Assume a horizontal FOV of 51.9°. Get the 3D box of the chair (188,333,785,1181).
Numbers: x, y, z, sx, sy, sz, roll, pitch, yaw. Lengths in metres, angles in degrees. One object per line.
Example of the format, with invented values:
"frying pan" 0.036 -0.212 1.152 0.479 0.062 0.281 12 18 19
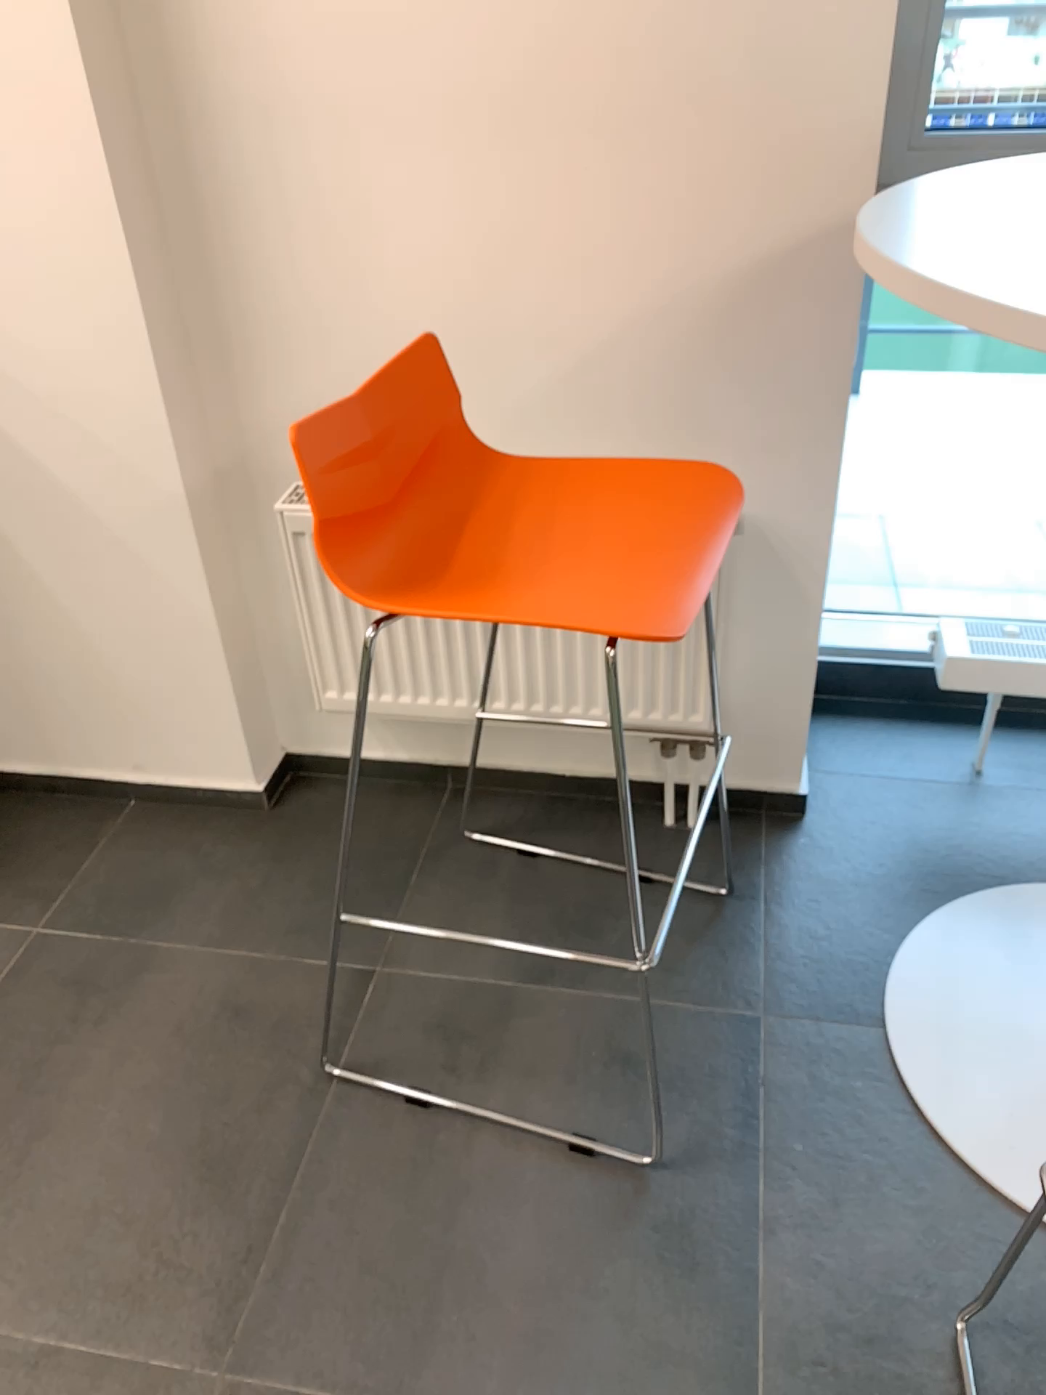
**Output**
"chair" 0.018 0.061 1.450 0.500 0.905 0.573 9 35 17
